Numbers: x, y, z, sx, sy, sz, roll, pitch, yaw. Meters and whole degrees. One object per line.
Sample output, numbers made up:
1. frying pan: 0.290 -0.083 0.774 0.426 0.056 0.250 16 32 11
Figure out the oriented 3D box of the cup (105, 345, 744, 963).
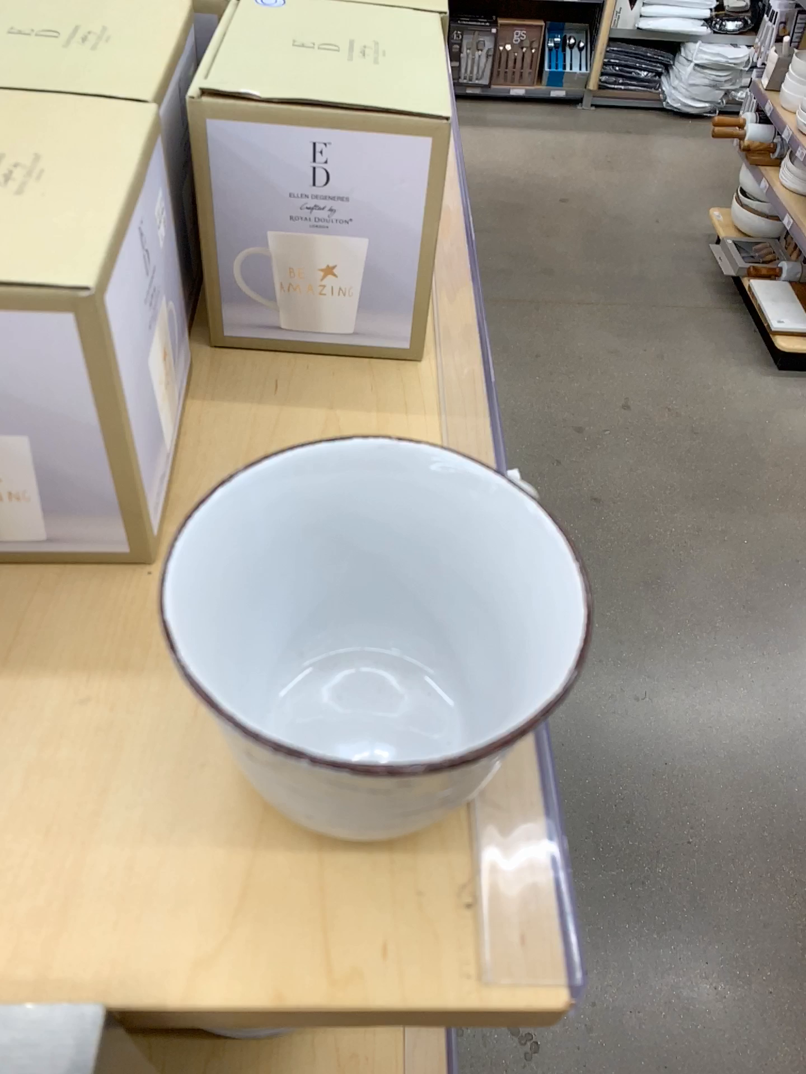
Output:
1. cup: 0.006 0.024 0.244 0.124 0.075 0.114 2 48 -2
